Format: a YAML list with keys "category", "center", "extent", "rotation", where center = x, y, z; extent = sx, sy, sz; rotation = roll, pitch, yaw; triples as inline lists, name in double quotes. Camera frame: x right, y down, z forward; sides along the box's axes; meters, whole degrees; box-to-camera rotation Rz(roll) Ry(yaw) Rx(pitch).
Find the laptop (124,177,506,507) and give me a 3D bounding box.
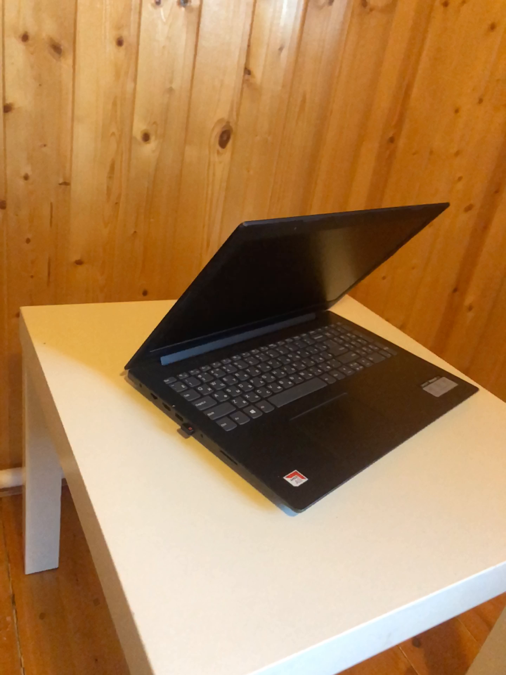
- category: "laptop"
  center: [0.095, -0.041, 0.618]
  extent: [0.250, 0.206, 0.374]
  rotation: [30, 32, 36]
